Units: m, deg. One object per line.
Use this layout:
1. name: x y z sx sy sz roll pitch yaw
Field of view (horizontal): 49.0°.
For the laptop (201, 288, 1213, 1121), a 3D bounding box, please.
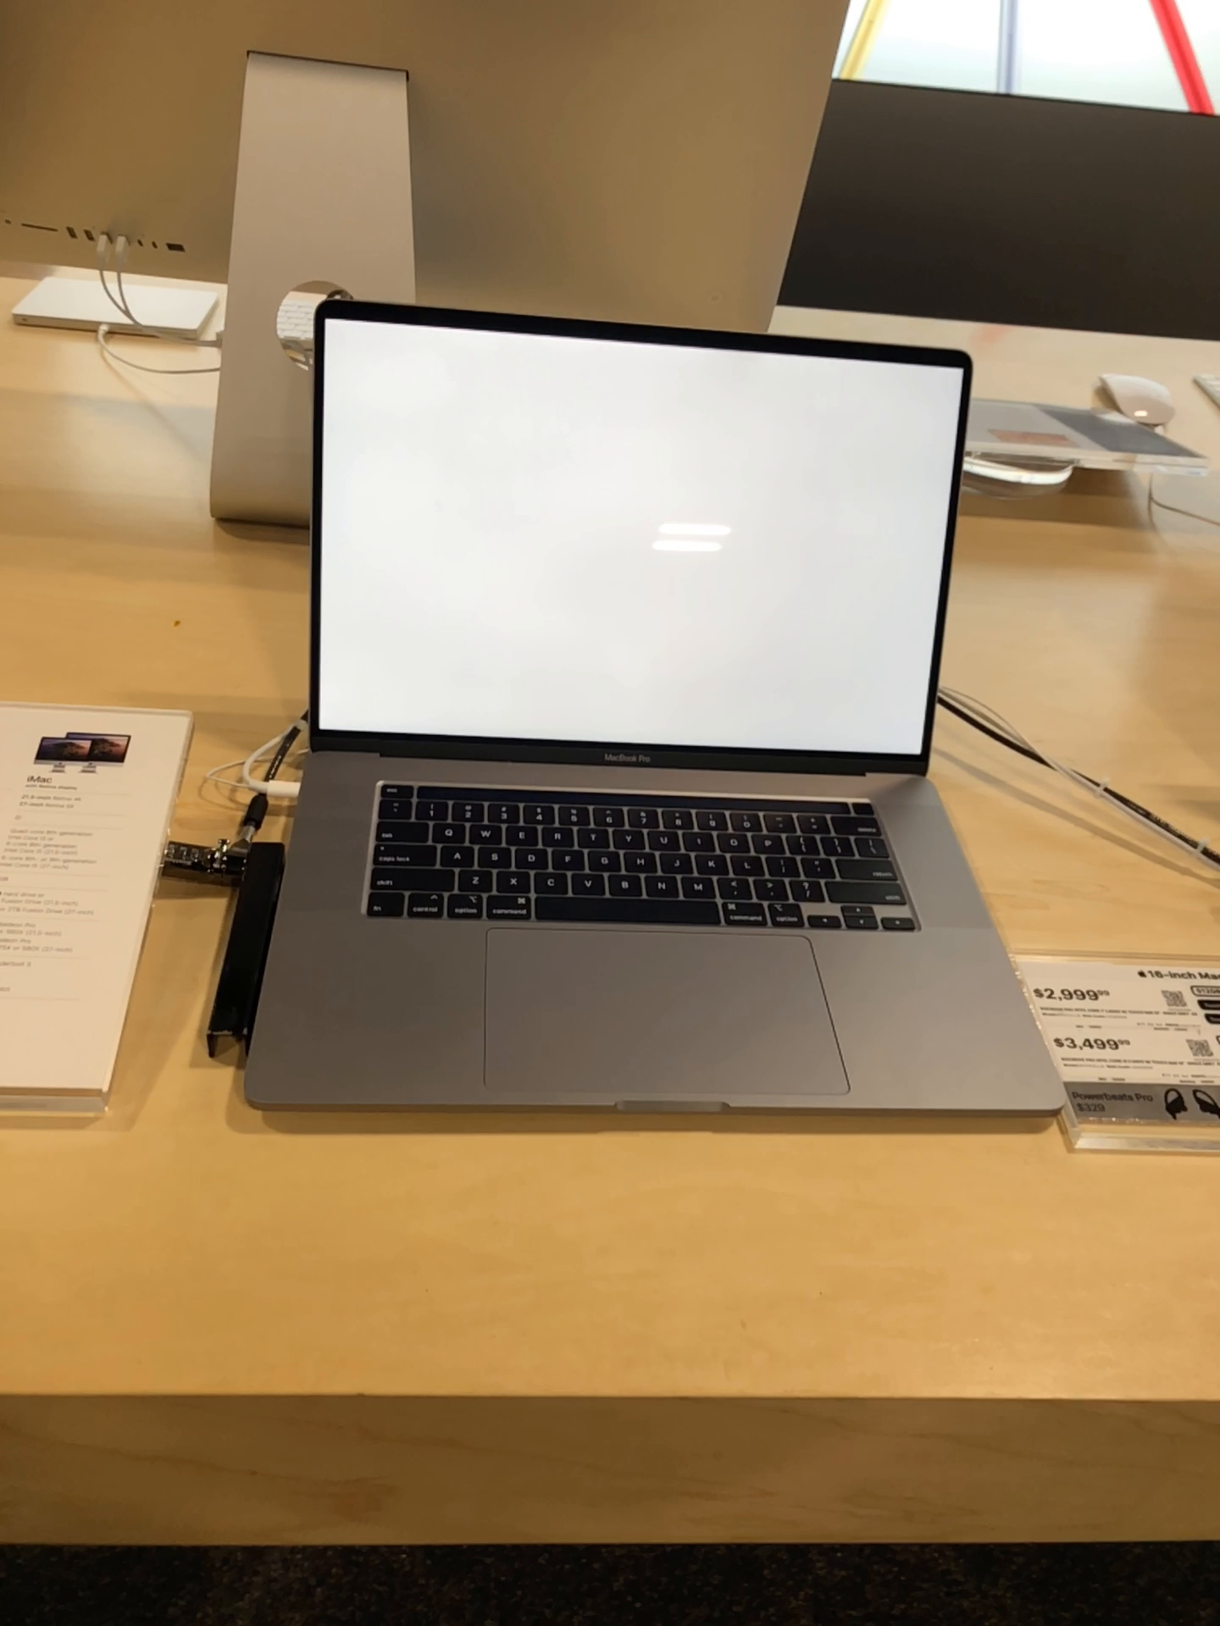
1. laptop: 0.012 -0.072 0.639 0.335 0.204 0.350 3 39 -4
